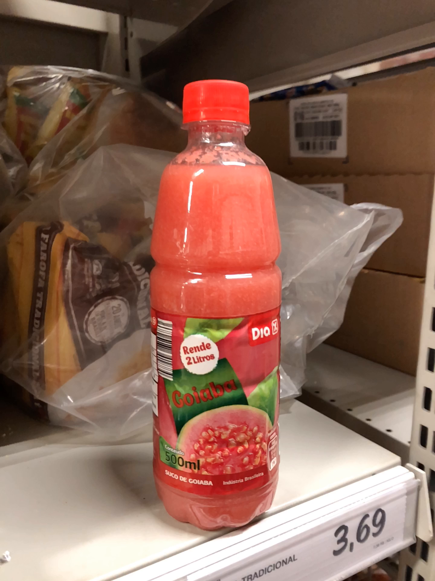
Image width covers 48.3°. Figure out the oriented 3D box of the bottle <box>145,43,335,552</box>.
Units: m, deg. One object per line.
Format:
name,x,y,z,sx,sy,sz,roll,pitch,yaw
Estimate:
bottle,0.012,0.004,0.250,0.070,0.219,0.070,2,10,0
